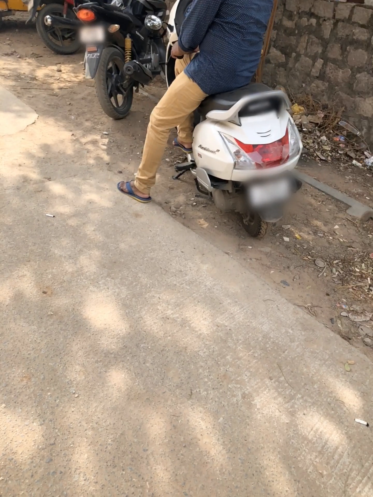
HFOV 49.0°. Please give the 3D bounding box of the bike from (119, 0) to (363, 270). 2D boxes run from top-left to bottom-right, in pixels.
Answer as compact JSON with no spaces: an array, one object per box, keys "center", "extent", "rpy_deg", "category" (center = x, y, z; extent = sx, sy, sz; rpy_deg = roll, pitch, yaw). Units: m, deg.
[{"center":[0.084,-0.890,2.441],"extent":[0.623,1.199,1.595],"rpy_deg":[-6,37,-20],"category":"bike"}]
